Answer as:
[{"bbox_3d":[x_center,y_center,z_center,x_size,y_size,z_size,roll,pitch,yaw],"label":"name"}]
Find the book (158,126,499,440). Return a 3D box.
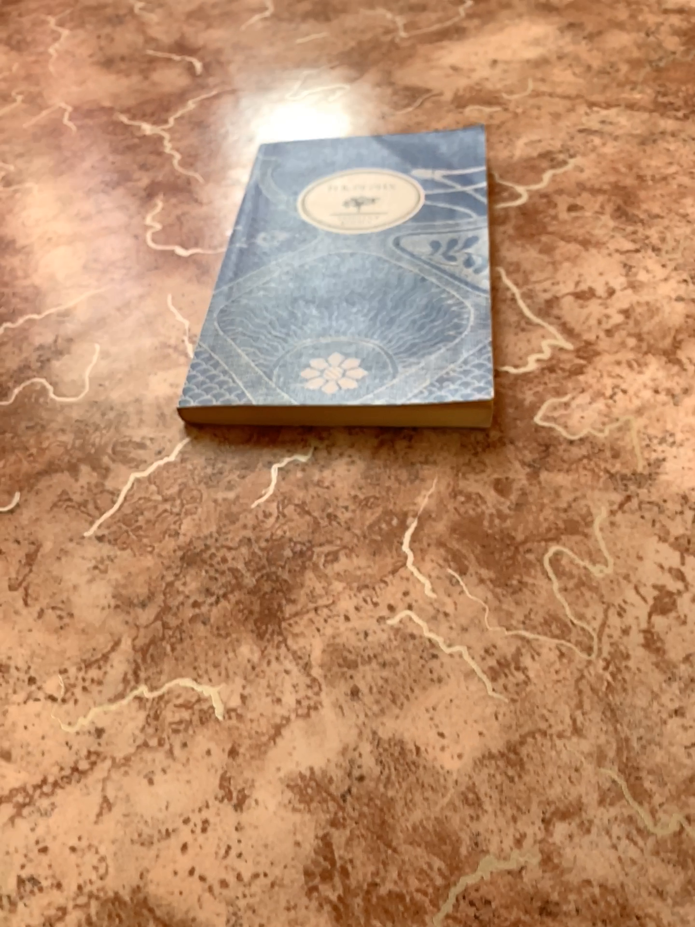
[{"bbox_3d":[0.000,-0.094,0.333,0.125,0.015,0.204,1,52,7],"label":"book"}]
